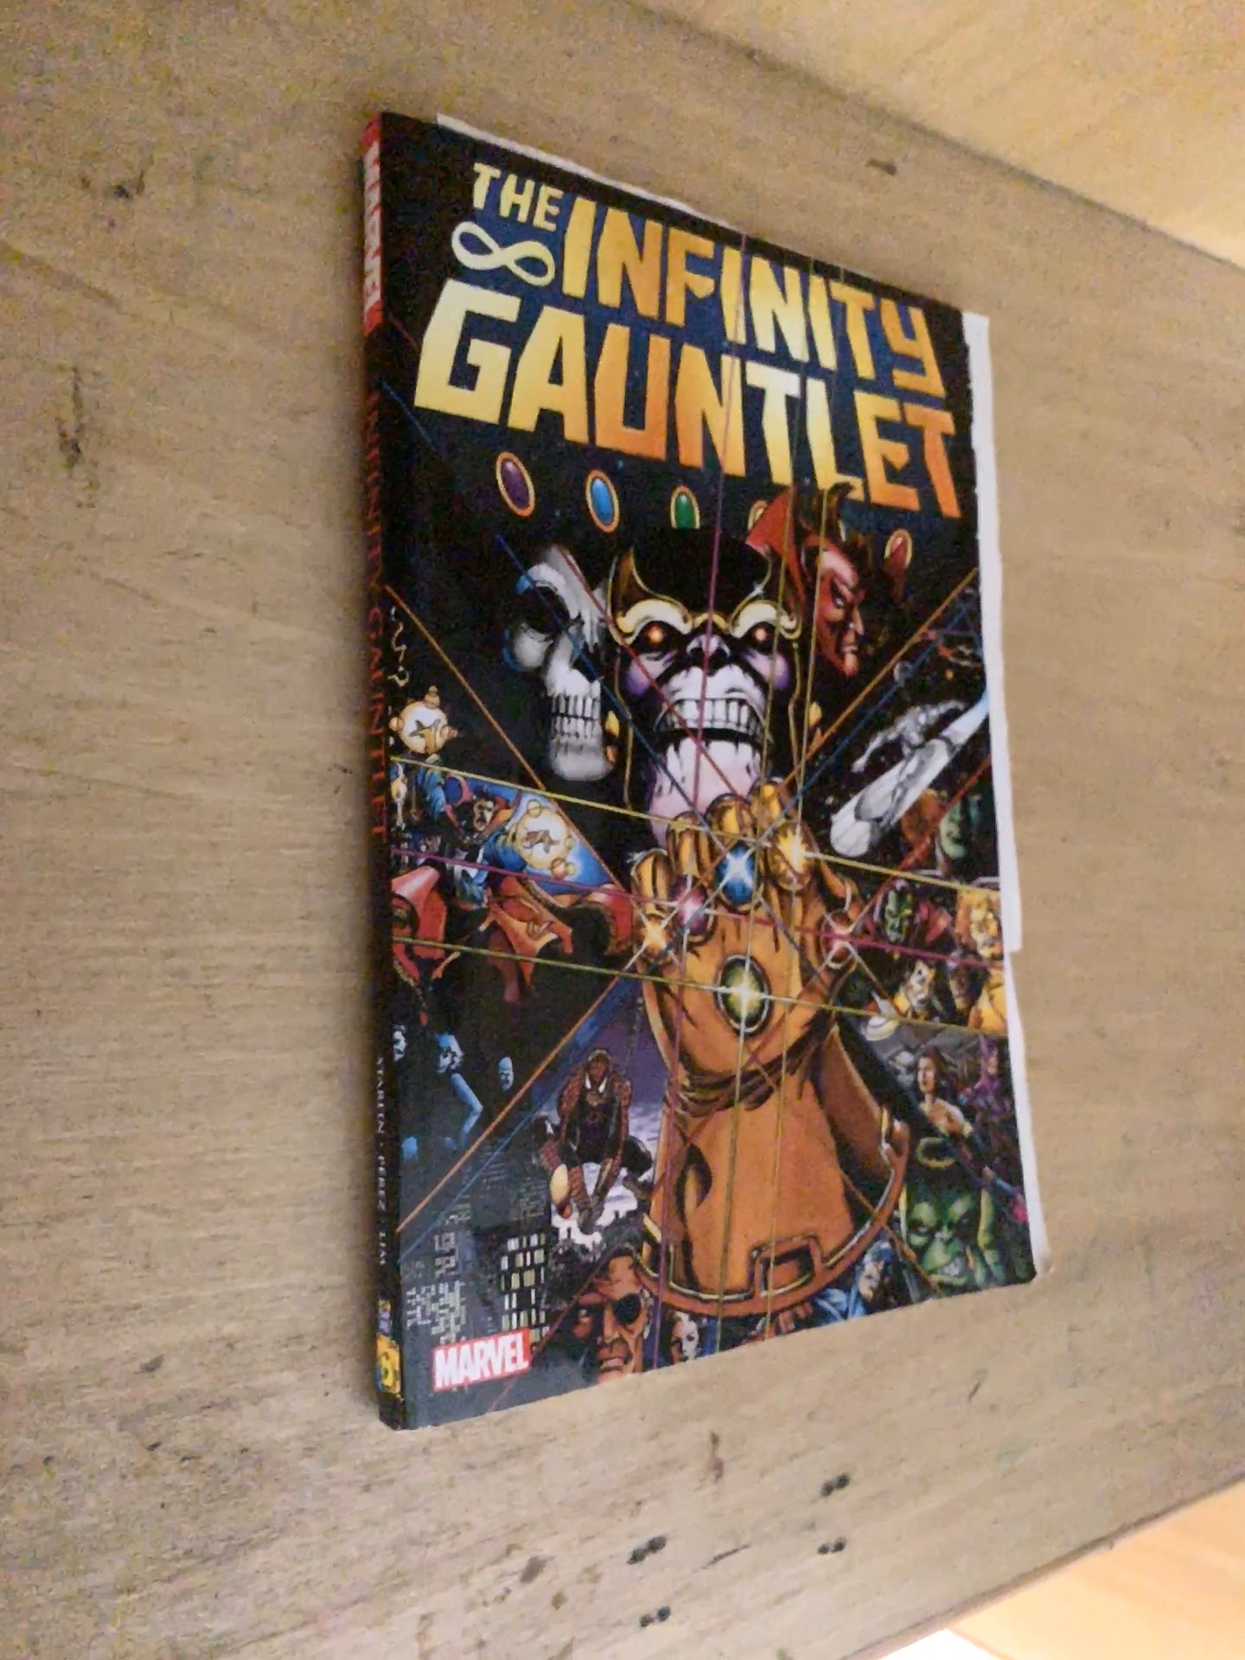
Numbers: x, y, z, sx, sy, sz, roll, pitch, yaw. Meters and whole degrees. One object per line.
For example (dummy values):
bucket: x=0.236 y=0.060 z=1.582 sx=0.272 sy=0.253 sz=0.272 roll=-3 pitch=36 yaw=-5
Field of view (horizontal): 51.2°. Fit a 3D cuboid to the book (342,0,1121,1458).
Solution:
book: x=0.033 y=-0.024 z=0.298 sx=0.191 sy=0.030 sz=0.270 roll=1 pitch=85 yaw=-33
